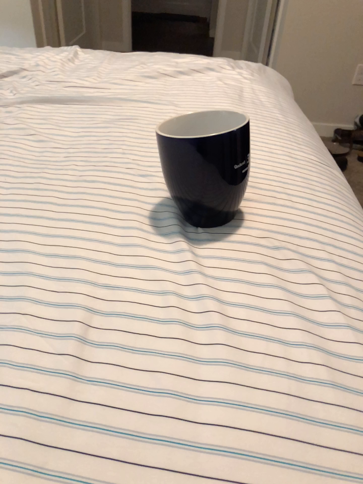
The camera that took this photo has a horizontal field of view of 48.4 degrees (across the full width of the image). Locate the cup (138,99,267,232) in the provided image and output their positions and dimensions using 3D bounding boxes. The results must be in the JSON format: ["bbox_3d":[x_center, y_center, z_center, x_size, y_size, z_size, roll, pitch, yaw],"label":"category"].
[{"bbox_3d":[0.030,-0.090,0.437,0.090,0.090,0.131,10,37,22],"label":"cup"}]
